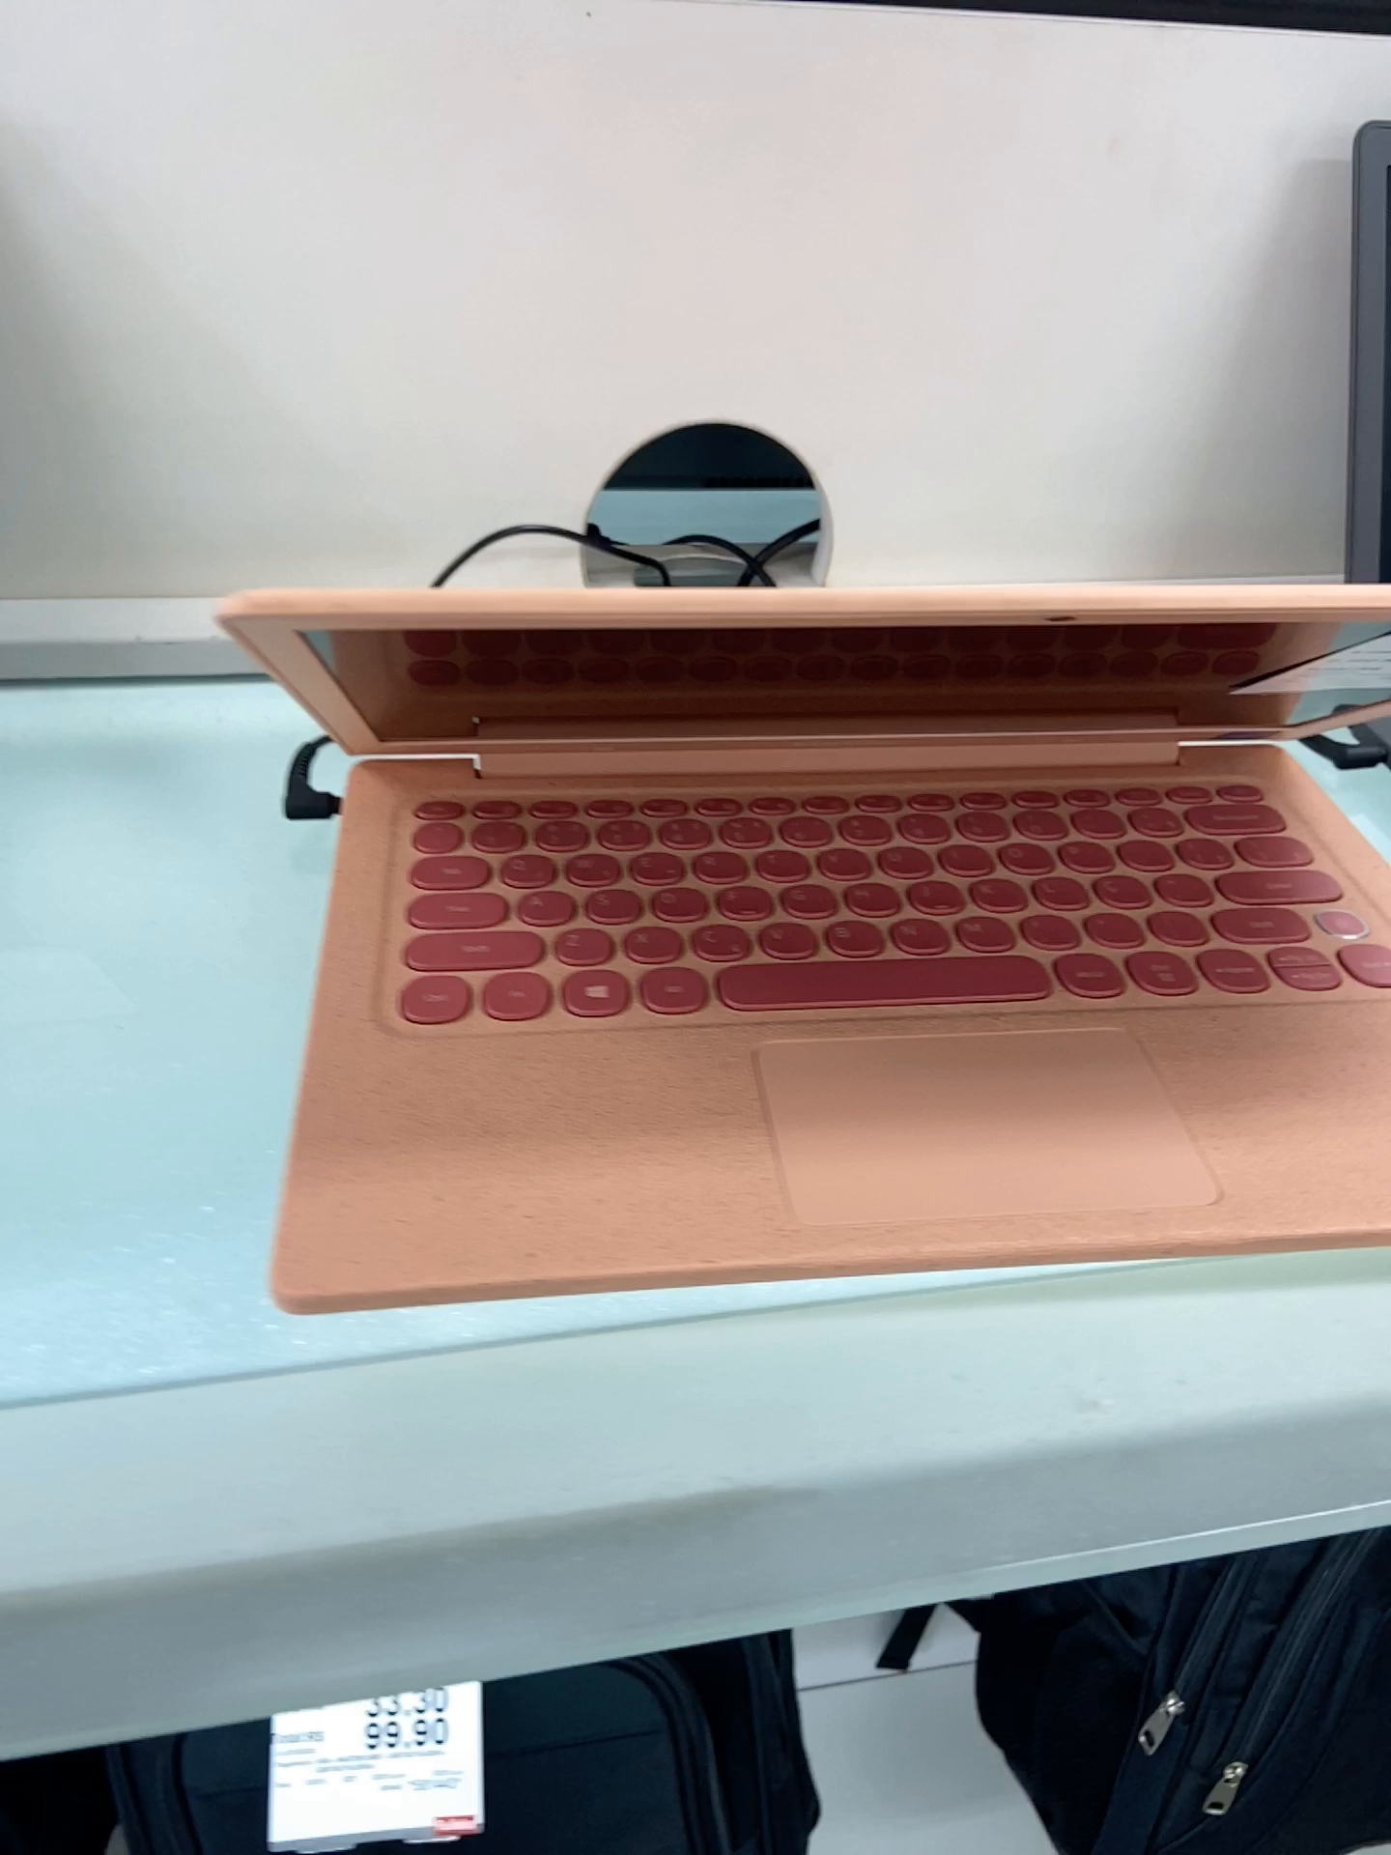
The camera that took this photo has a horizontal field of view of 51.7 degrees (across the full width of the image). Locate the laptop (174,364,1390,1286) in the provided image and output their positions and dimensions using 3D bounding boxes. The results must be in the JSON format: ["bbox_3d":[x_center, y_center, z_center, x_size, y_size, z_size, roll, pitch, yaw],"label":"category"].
[{"bbox_3d":[0.063,-0.045,0.366,0.323,0.129,0.212,-2,36,-7],"label":"laptop"}]
